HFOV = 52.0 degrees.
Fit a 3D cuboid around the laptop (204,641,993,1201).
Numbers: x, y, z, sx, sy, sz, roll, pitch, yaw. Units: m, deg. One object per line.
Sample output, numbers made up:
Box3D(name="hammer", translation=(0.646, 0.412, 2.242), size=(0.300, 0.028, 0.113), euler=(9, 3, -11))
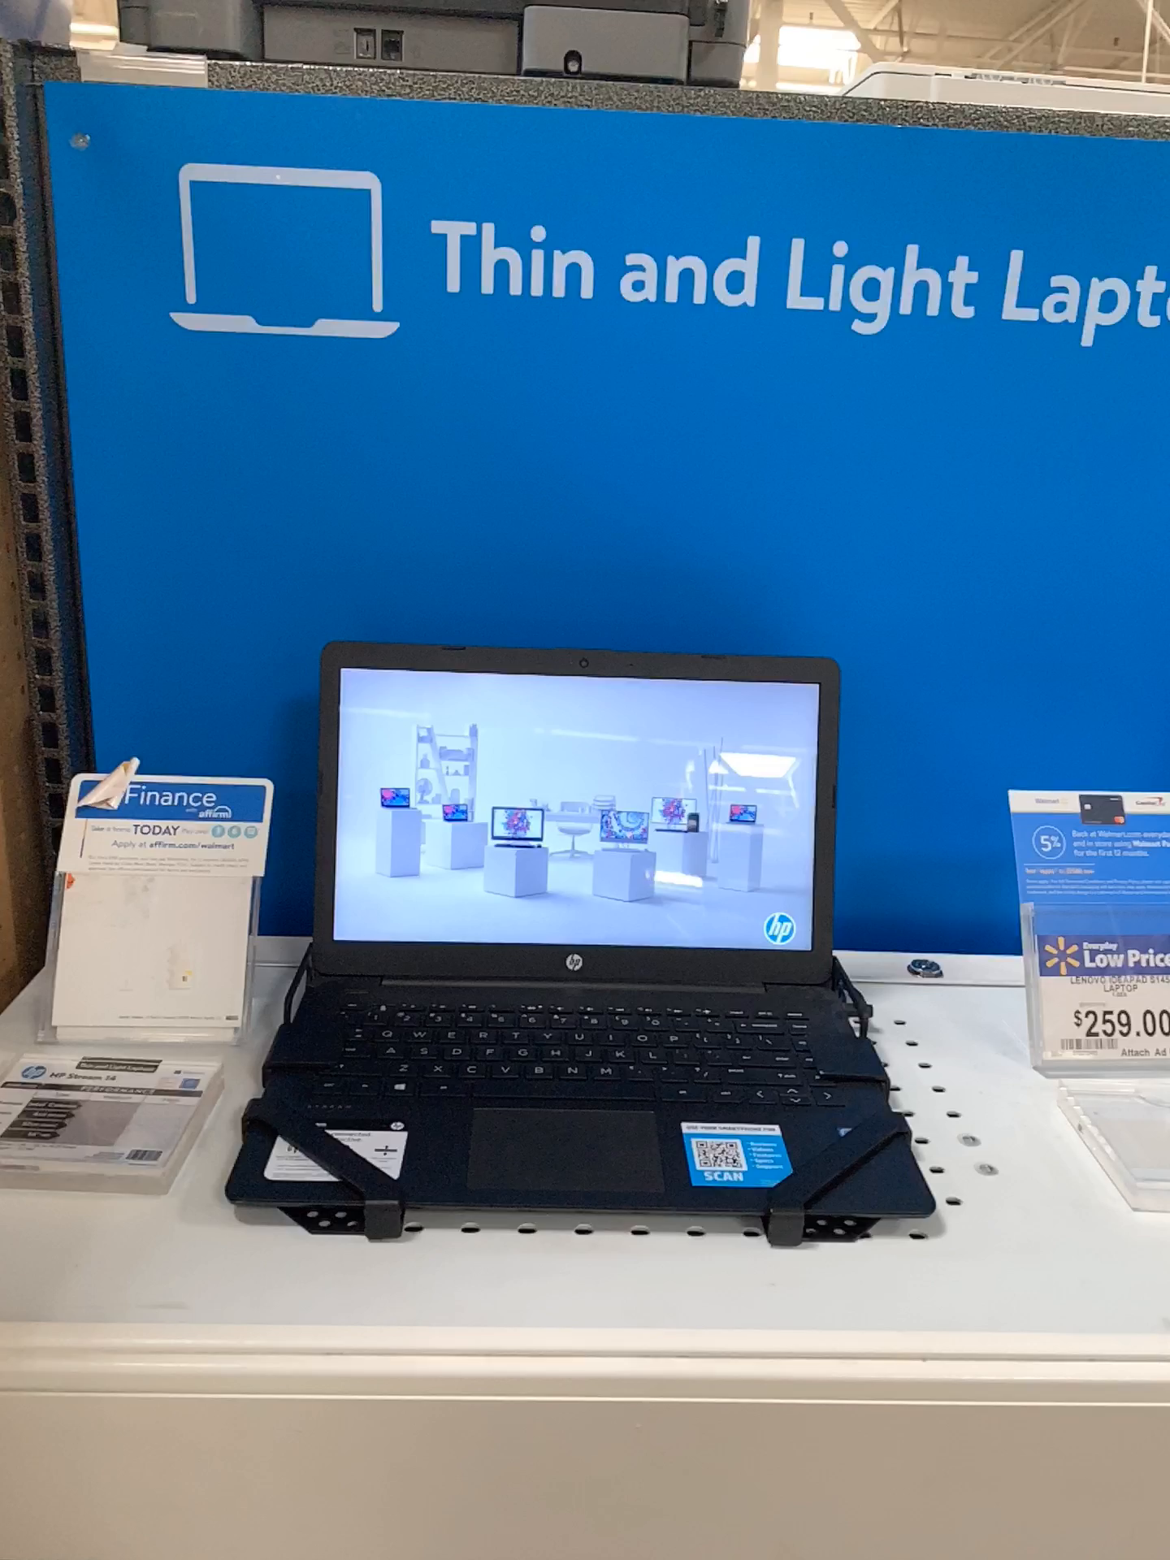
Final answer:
Box3D(name="laptop", translation=(-0.001, 0.055, 0.652), size=(0.325, 0.203, 0.270), euler=(2, 17, -3))
